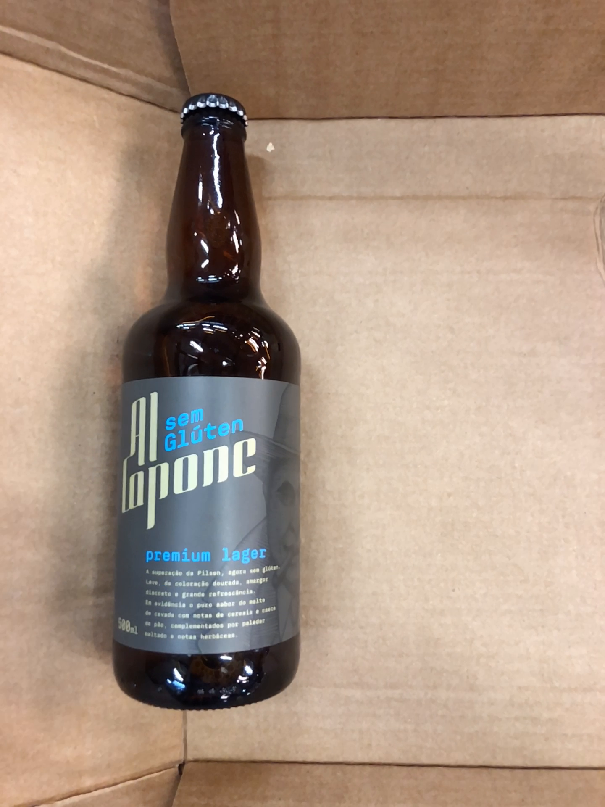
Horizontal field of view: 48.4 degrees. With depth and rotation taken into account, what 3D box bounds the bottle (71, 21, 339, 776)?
[{"bbox_3d":[-0.036,-0.007,0.249,0.080,0.060,0.240,1,81,-13],"label":"bottle"}]
